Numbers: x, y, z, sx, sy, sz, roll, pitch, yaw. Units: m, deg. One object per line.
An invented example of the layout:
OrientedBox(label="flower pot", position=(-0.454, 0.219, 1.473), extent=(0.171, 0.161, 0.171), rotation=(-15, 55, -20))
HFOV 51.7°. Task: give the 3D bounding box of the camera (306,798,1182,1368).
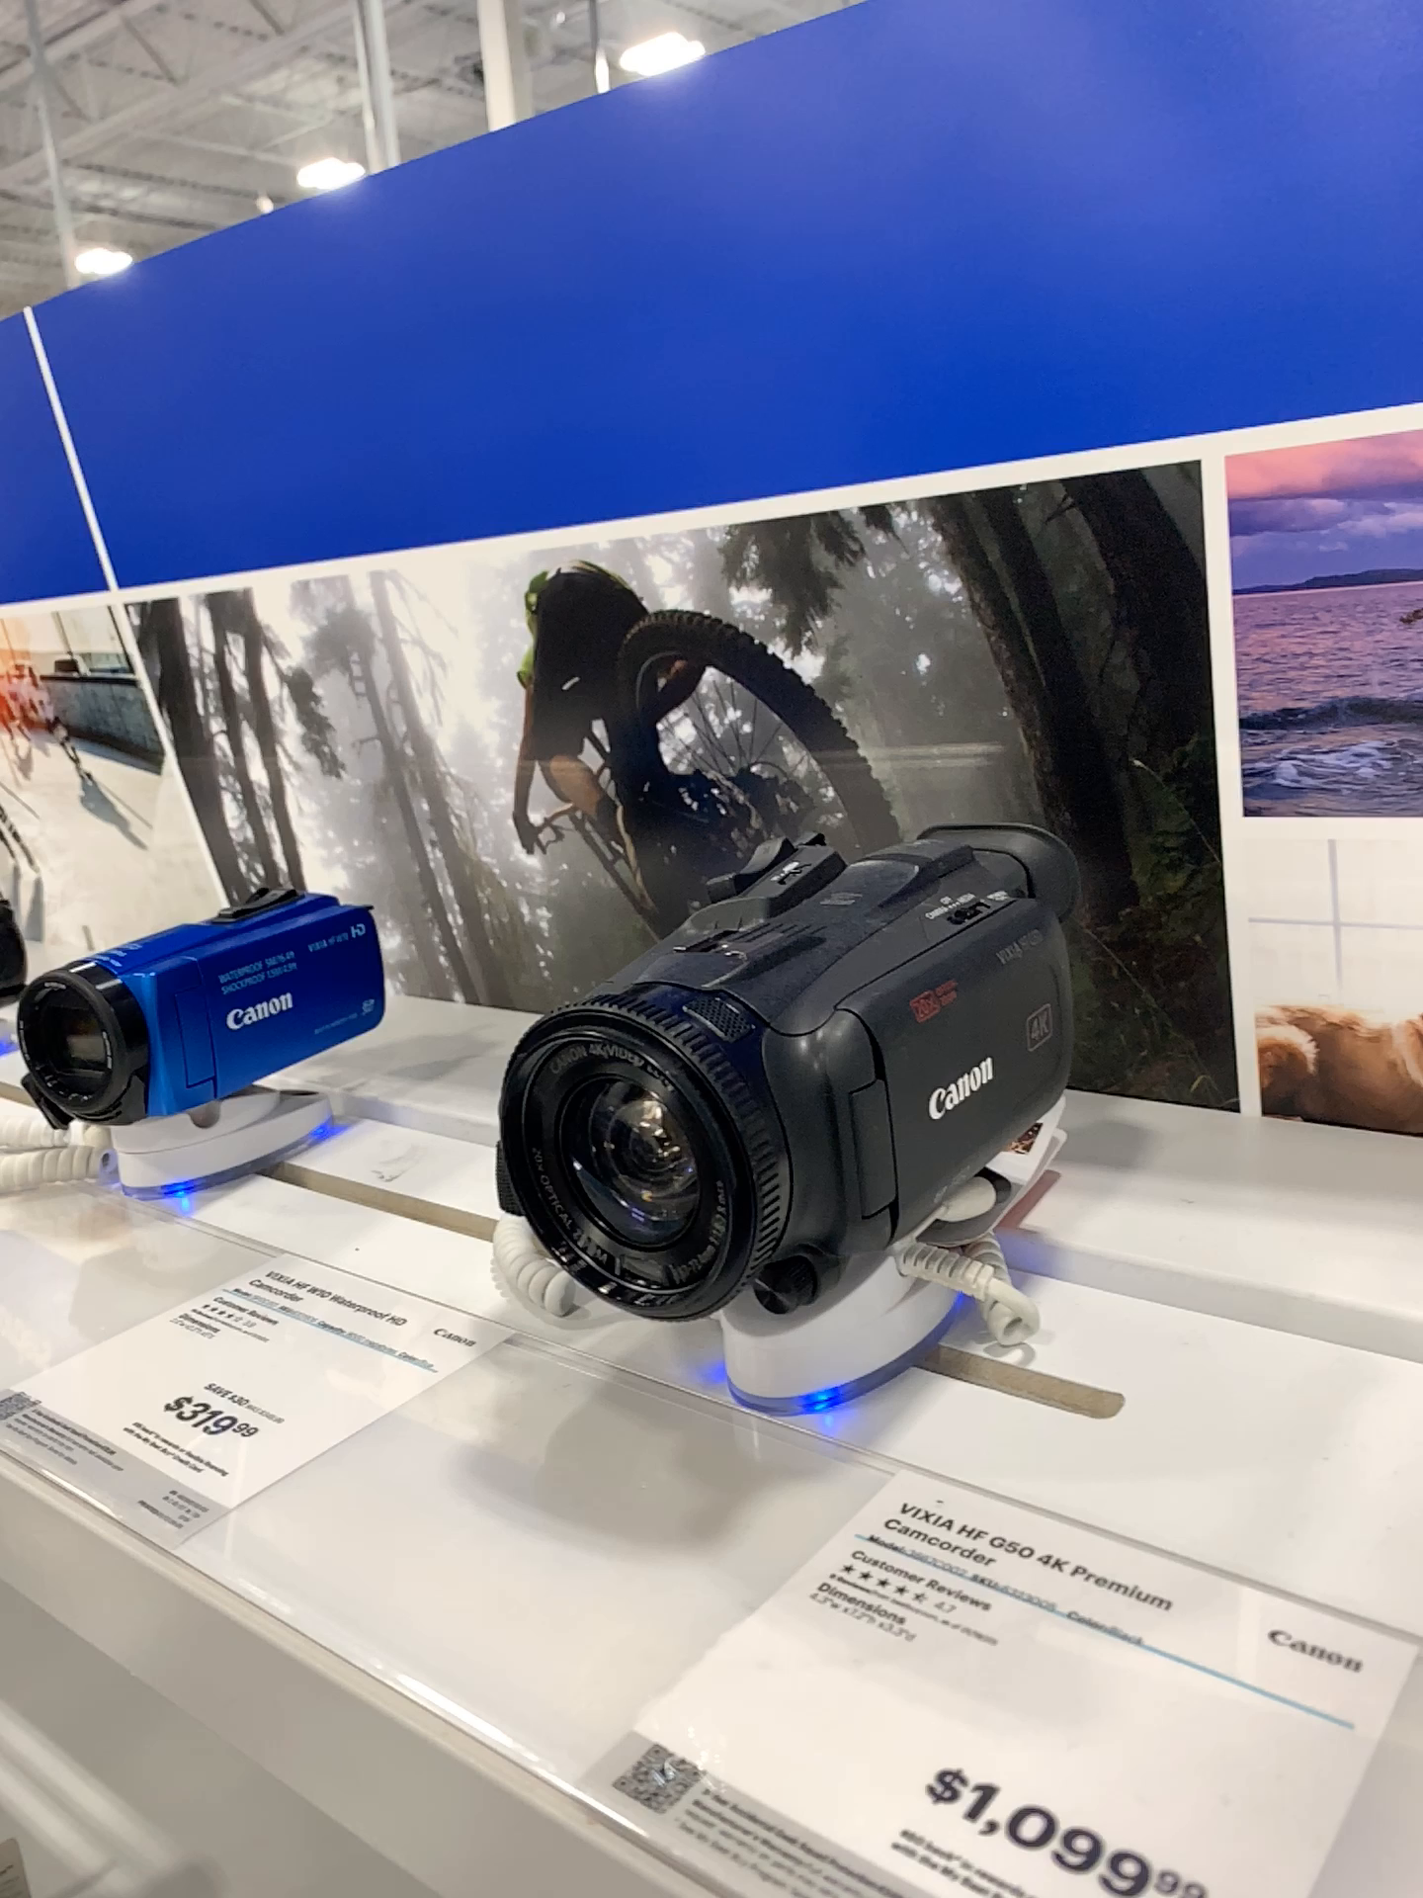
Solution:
OrientedBox(label="camera", position=(0.023, 0.014, 0.380), extent=(0.132, 0.069, 0.200), rotation=(6, 18, 36))
